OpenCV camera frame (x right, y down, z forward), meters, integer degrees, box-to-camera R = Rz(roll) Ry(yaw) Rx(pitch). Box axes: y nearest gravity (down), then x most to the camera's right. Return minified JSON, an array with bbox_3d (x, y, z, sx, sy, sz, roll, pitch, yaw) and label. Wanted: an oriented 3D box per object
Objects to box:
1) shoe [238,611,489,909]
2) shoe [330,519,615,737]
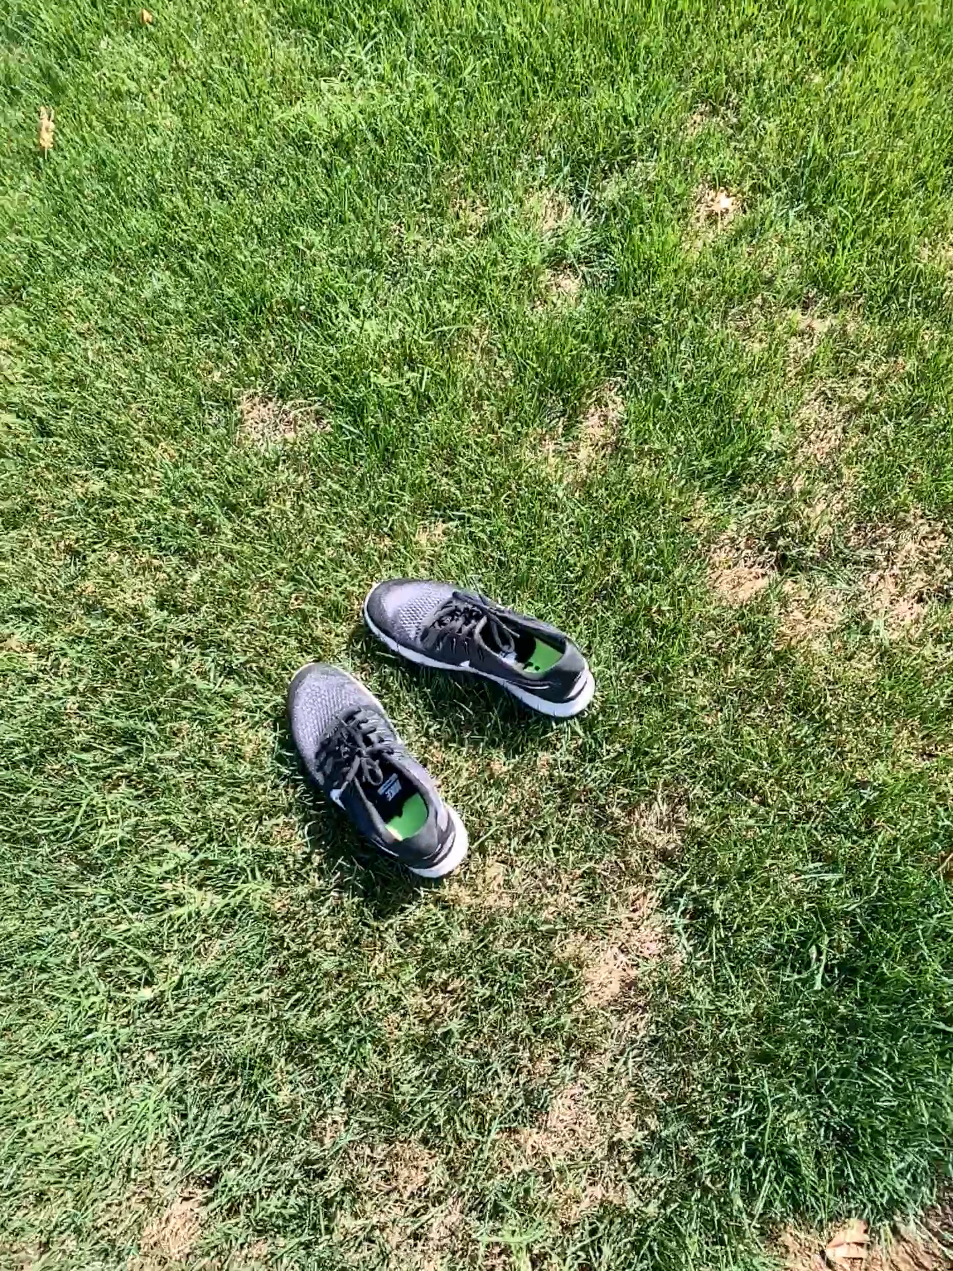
[{"bbox_3d":[-0.114,0.130,1.004,0.100,0.130,0.280,-35,71,-8],"label":"shoe"},{"bbox_3d":[-0.001,-0.006,1.039,0.270,0.130,0.100,23,74,13],"label":"shoe"}]
